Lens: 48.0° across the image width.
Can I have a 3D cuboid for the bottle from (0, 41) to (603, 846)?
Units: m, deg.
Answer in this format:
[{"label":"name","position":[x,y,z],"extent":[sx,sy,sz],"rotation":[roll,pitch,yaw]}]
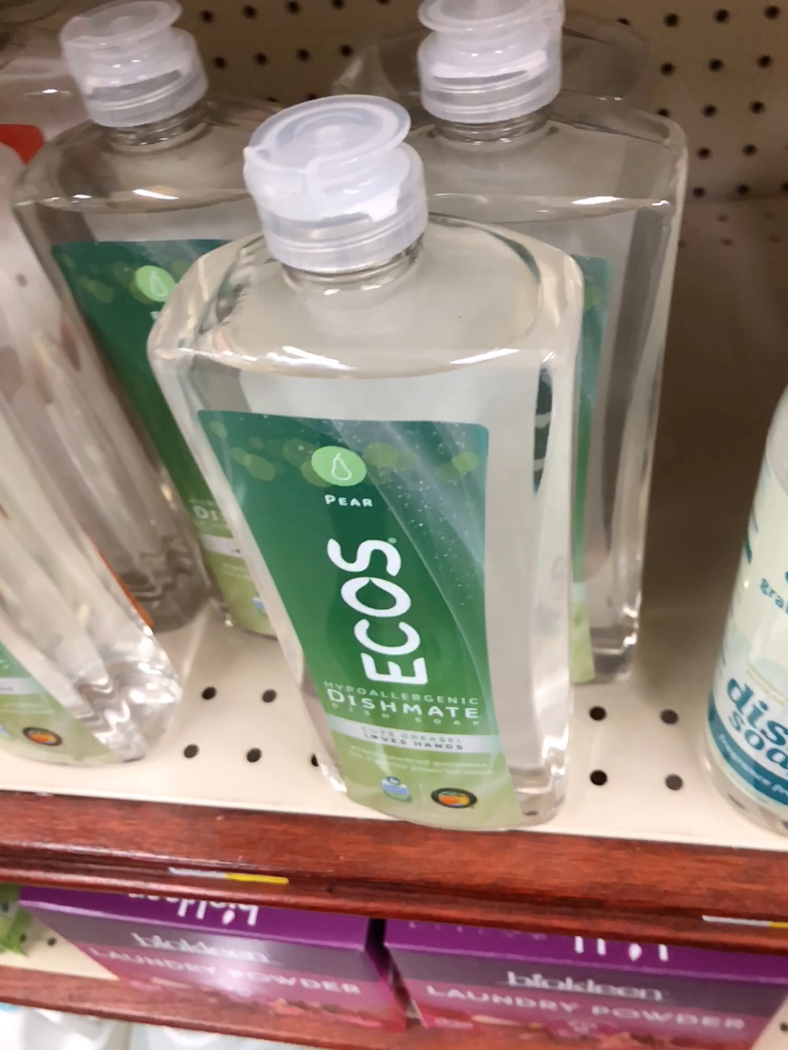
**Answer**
[{"label":"bottle","position":[0.000,0.010,0.224],"extent":[0.092,0.226,0.050],"rotation":[4,52,14]}]
